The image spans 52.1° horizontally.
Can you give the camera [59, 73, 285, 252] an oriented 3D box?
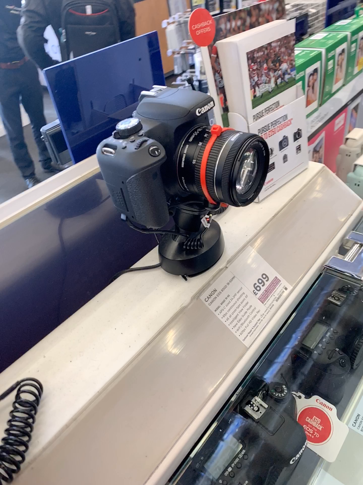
[{"bbox_3d":[0.000,-0.087,0.345,0.141,0.089,0.141,18,45,30],"label":"camera"}]
